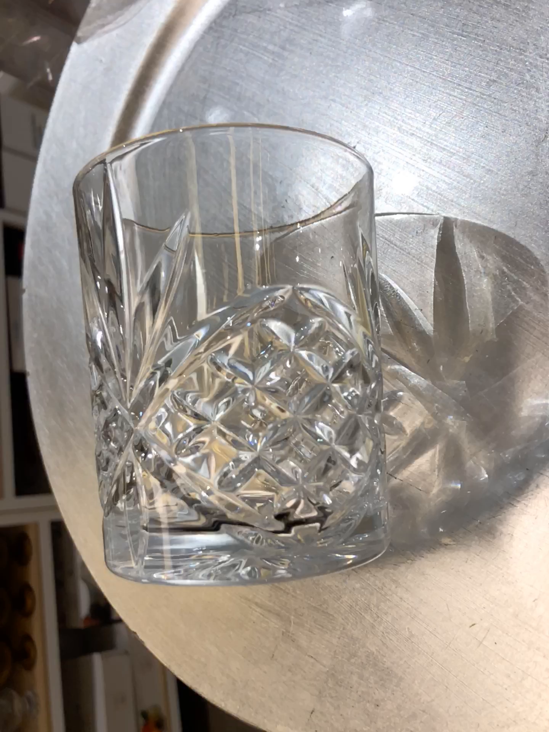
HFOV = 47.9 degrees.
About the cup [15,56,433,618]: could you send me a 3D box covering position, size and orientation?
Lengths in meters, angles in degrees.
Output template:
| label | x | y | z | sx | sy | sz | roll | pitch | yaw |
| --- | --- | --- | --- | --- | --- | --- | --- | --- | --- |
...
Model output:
| label | x | y | z | sx | sy | sz | roll | pitch | yaw |
| --- | --- | --- | --- | --- | --- | --- | --- | --- | --- |
| cup | -0.016 | -0.002 | 0.157 | 0.080 | 0.060 | 0.100 | -9 | 83 | 41 |
